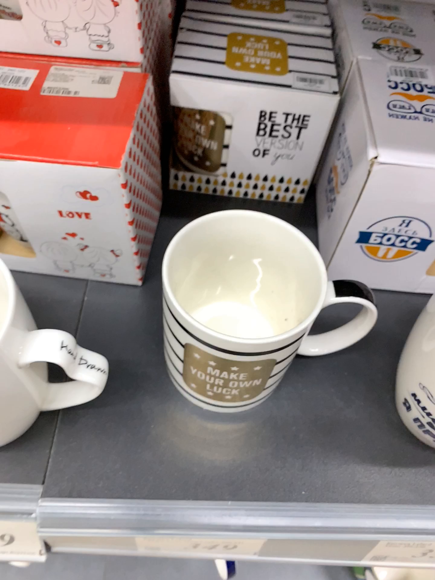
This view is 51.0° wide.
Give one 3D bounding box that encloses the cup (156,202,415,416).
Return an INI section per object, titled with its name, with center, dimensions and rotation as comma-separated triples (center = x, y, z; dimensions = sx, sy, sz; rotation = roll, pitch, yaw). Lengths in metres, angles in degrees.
[cup]
center = 0.026, 0.016, 0.260
dimensions = 0.114, 0.096, 0.082
rotation = 2, 57, -5
